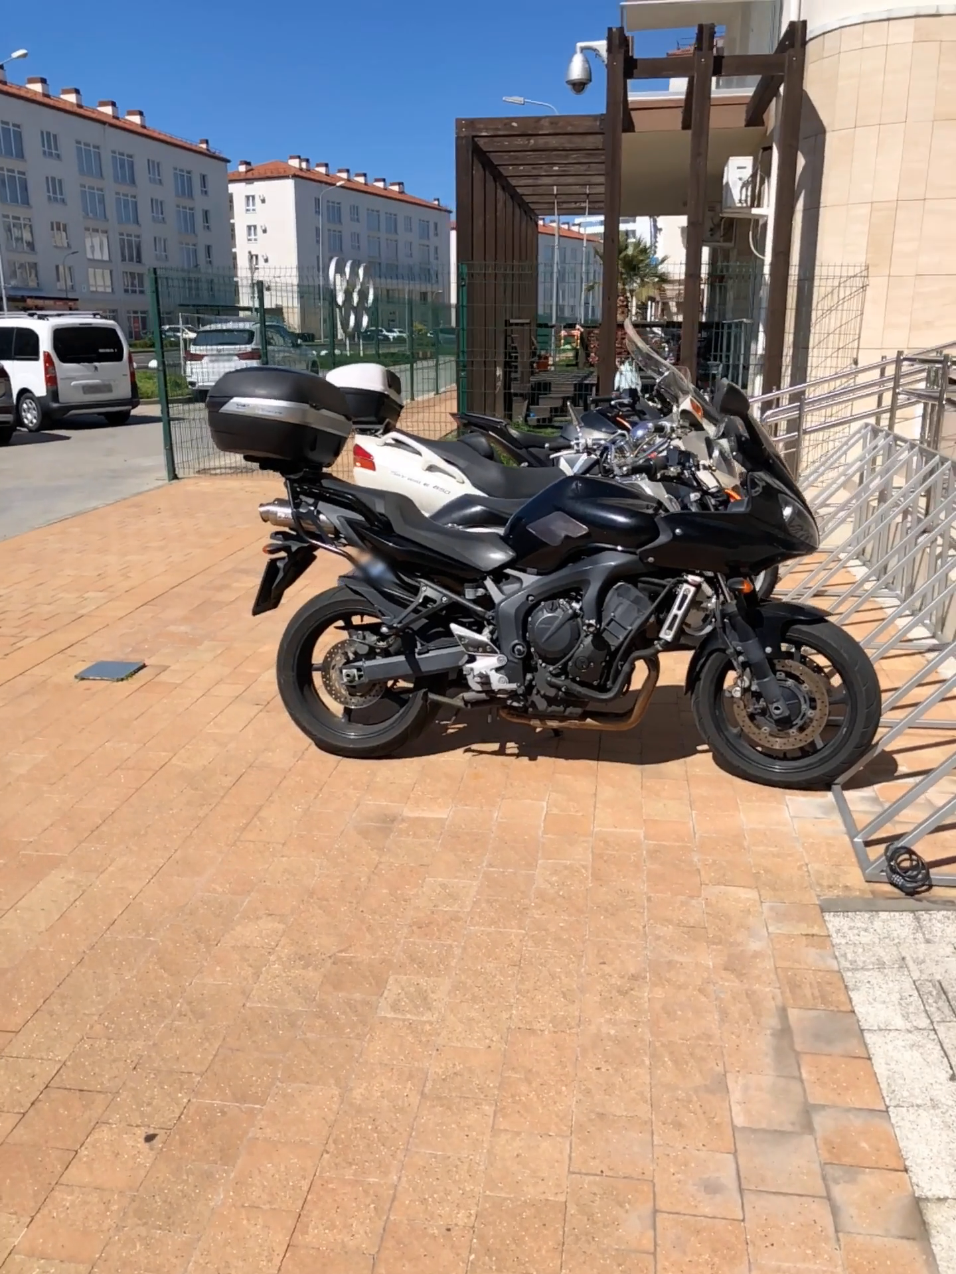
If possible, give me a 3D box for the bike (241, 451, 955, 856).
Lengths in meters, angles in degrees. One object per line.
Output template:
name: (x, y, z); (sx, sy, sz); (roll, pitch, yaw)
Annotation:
bike: (0.256, -0.021, 3.174); (1.919, 1.003, 0.607); (2, 15, 10)
